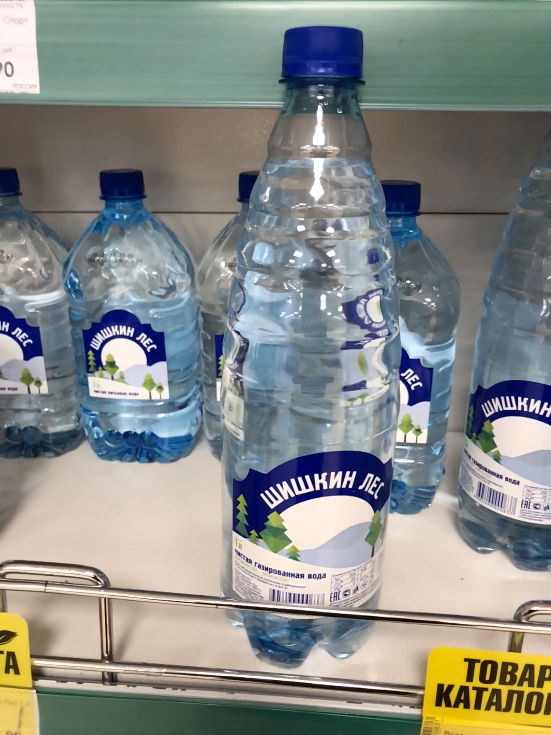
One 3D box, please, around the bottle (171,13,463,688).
[{"bbox_3d":[0.013,0.005,0.273,0.090,0.273,0.080,-1,20,-1],"label":"bottle"}]
